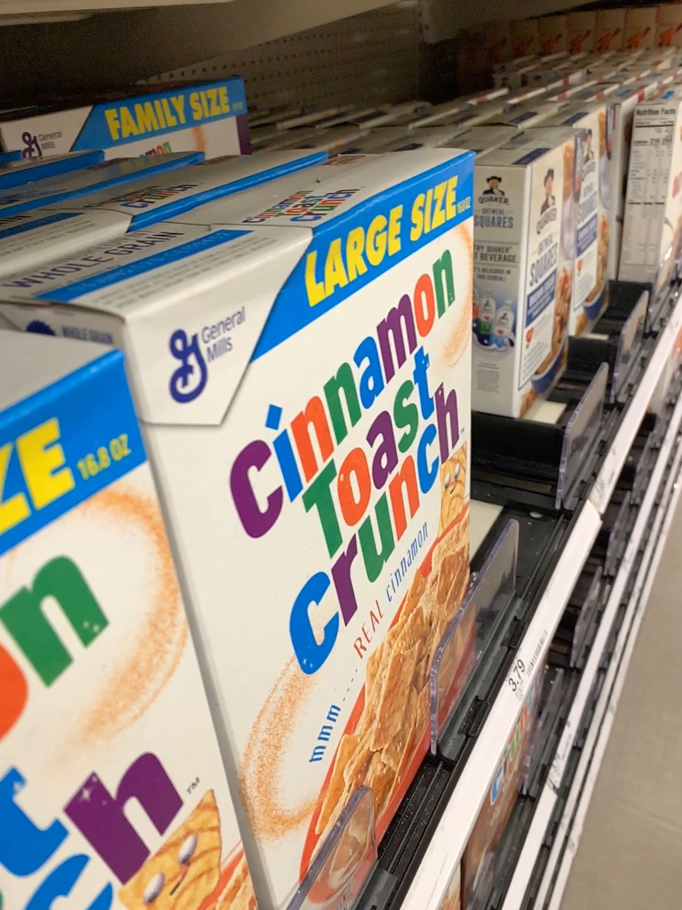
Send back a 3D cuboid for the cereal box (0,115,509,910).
[{"bbox_3d":[-0.002,0.038,0.282,0.070,0.288,0.191,12,36,28],"label":"cereal box"}]
